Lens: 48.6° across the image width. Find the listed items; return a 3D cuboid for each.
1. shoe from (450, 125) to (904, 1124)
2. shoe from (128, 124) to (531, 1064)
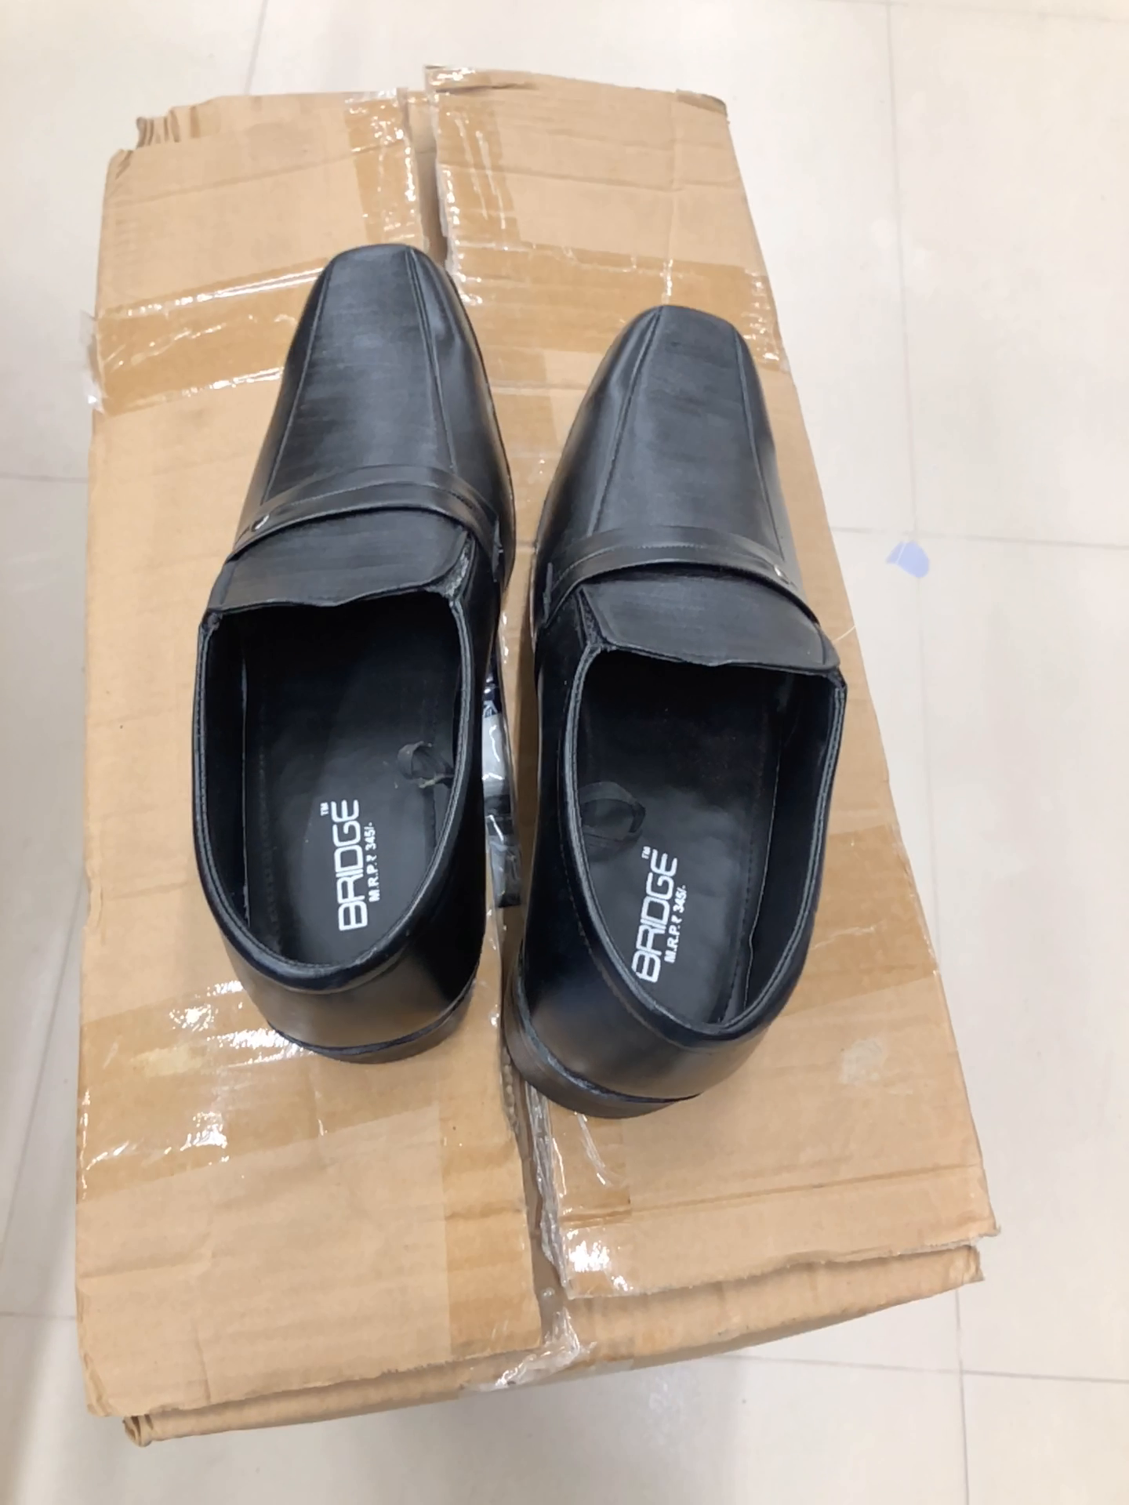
[{"bbox_3d":[0.032,-0.040,0.435,0.100,0.129,0.311,8,67,-12],"label":"shoe"},{"bbox_3d":[-0.067,-0.053,0.427,0.100,0.130,0.291,-2,68,-2],"label":"shoe"}]
